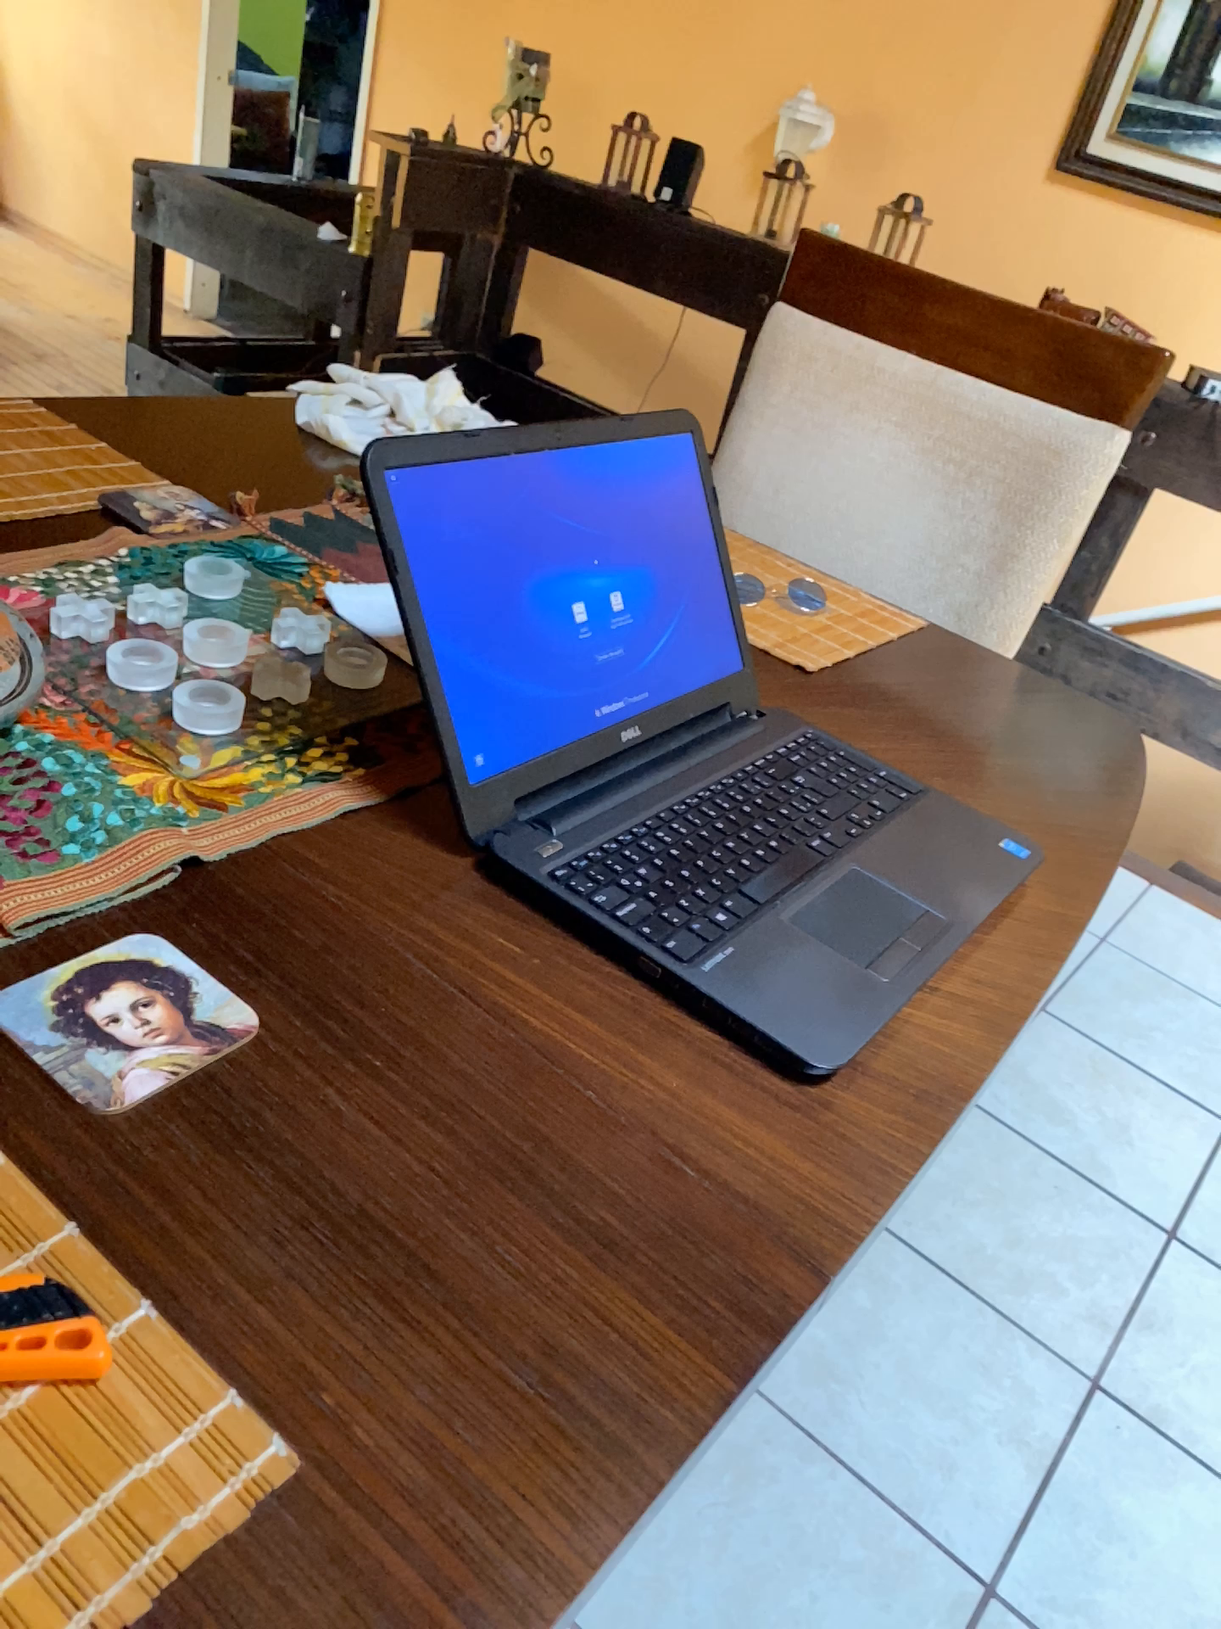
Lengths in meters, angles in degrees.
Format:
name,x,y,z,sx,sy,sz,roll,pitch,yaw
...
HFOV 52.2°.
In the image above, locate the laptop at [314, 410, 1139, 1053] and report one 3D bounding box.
name,x,y,z,sx,sy,sz,roll,pitch,yaw
laptop,0.084,-0.101,0.846,0.395,0.194,0.369,31,33,23
